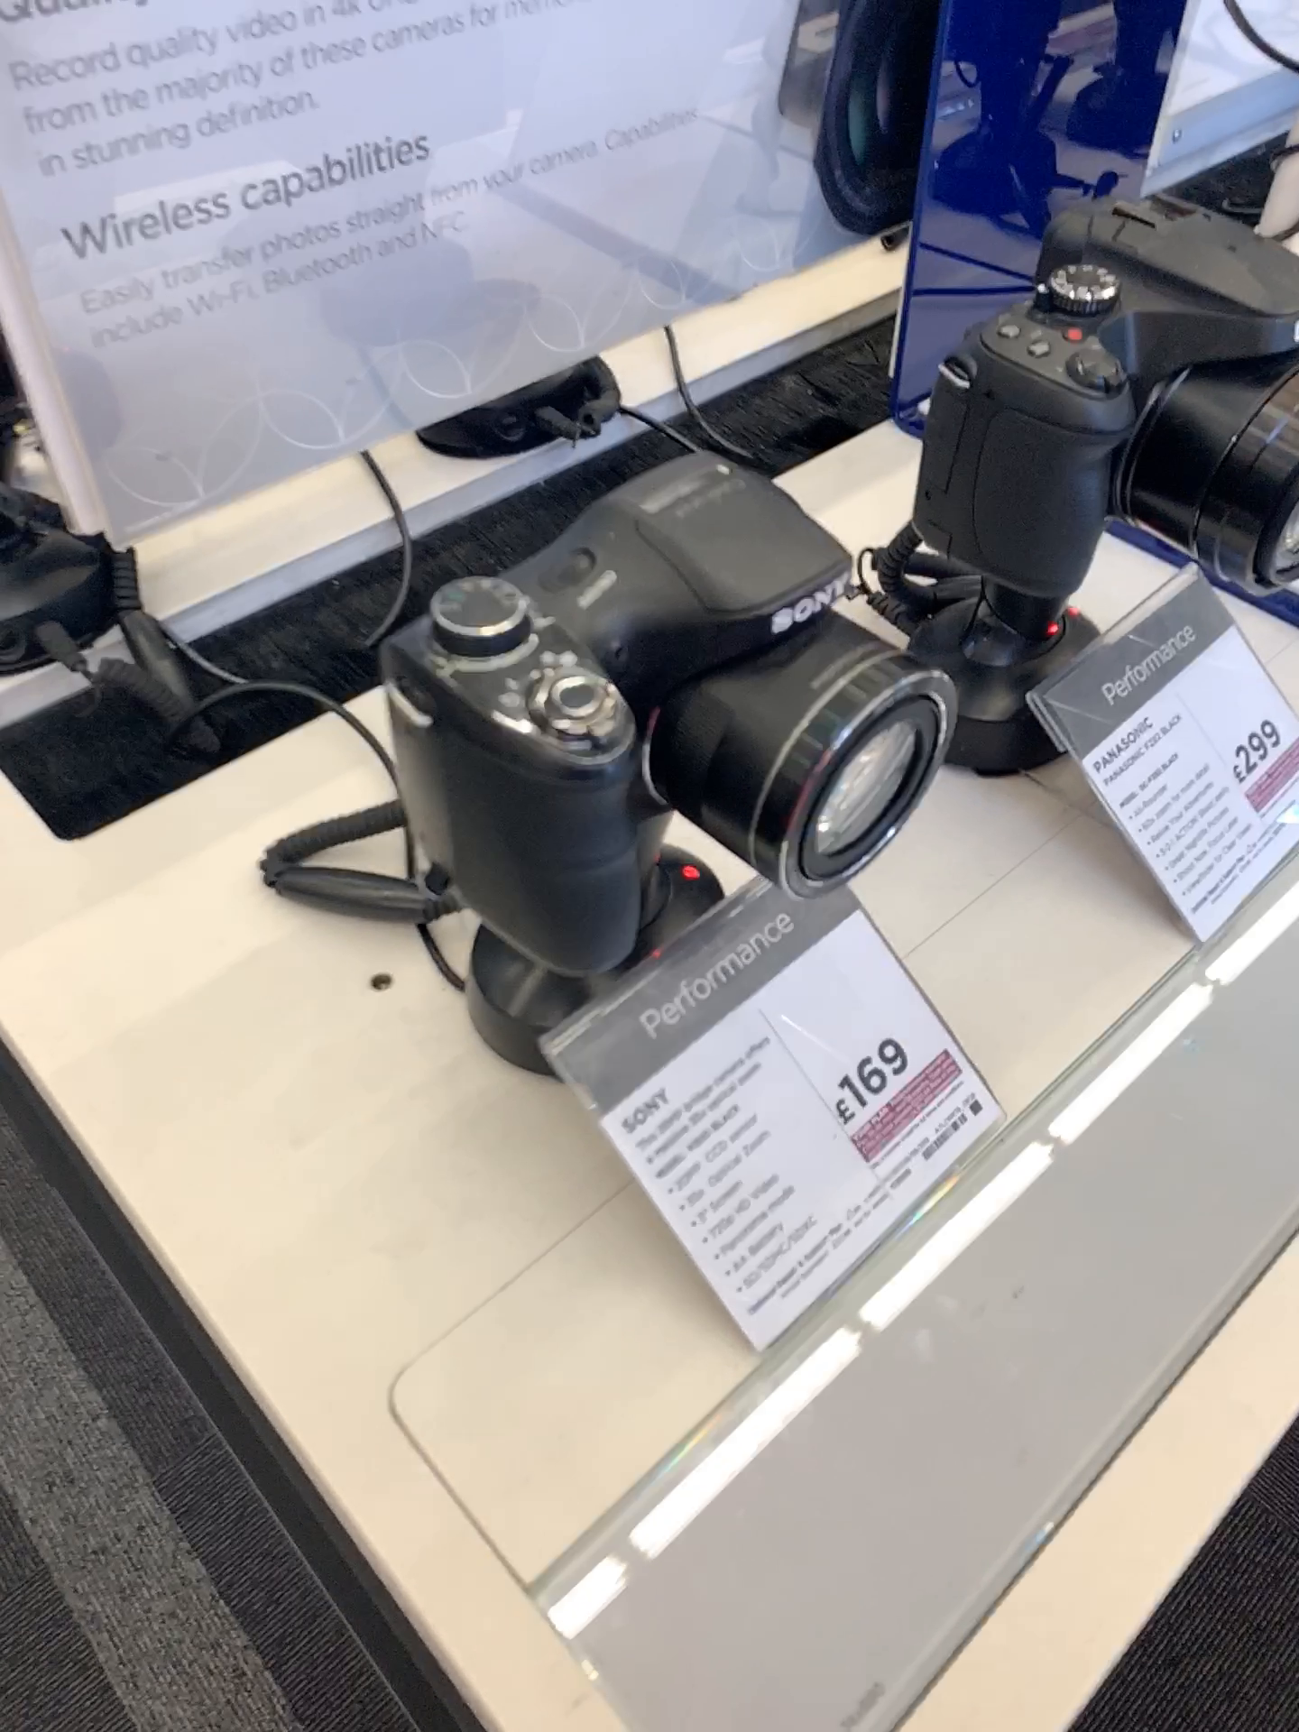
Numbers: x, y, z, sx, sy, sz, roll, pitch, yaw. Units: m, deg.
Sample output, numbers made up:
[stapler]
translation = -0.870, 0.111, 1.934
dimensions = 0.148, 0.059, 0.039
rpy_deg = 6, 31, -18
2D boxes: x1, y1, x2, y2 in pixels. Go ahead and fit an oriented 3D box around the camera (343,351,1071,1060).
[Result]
[camera]
translation = 0.014, -0.044, 0.315
dimensions = 0.131, 0.089, 0.090
rpy_deg = -34, 56, -28
